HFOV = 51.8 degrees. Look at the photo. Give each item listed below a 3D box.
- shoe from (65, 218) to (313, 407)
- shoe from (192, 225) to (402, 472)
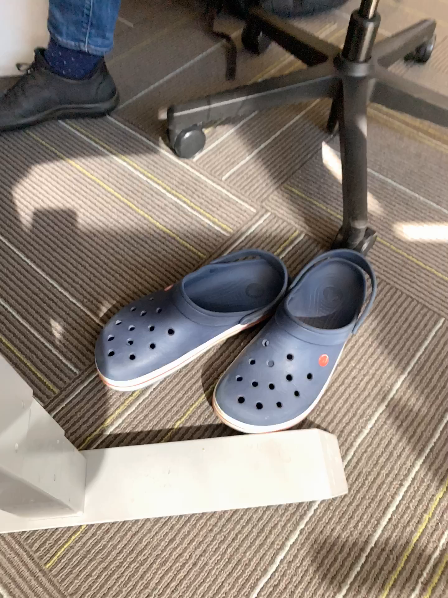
[{"bbox_3d":[-0.045,0.012,0.673,0.320,0.080,0.131,-26,62,-15],"label":"shoe"},{"bbox_3d":[0.109,0.055,0.652,0.130,0.080,0.331,32,63,17],"label":"shoe"}]
